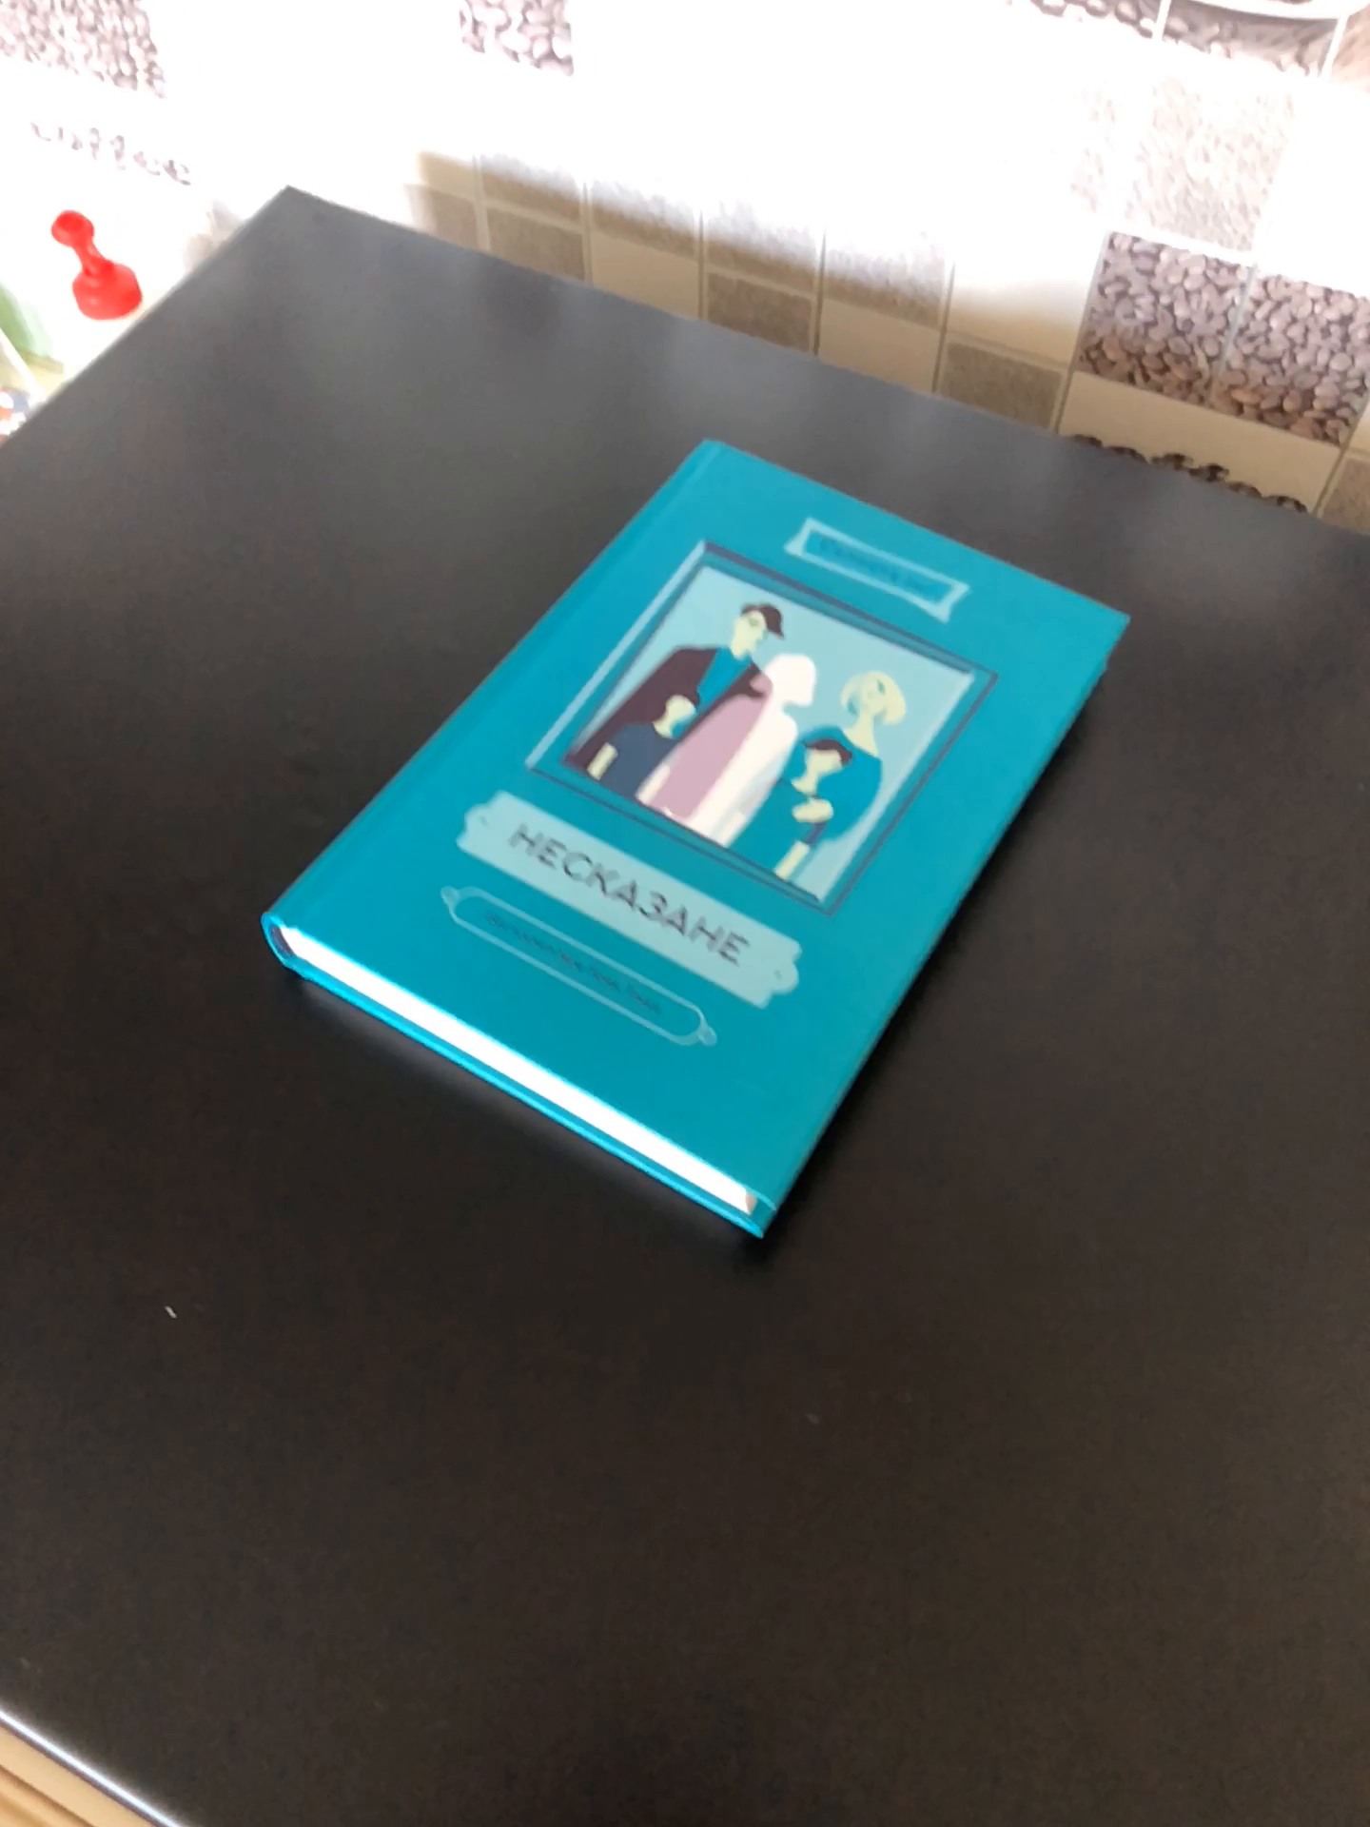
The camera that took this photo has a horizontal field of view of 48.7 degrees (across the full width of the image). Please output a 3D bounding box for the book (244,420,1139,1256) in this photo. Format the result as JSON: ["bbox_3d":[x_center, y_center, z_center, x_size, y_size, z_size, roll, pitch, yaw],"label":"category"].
[{"bbox_3d":[0.010,-0.036,0.414,0.150,0.030,0.211,28,61,16],"label":"book"}]
